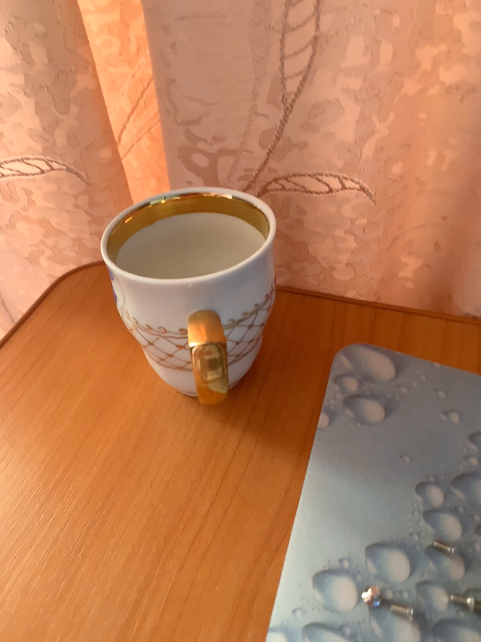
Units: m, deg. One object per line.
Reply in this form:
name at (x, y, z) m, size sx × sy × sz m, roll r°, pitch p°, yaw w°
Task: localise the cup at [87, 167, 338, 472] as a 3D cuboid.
cup at (-0.013, -0.006, 0.177) m, size 0.059 × 0.055 × 0.083 m, roll -14°, pitch 43°, yaw -12°
